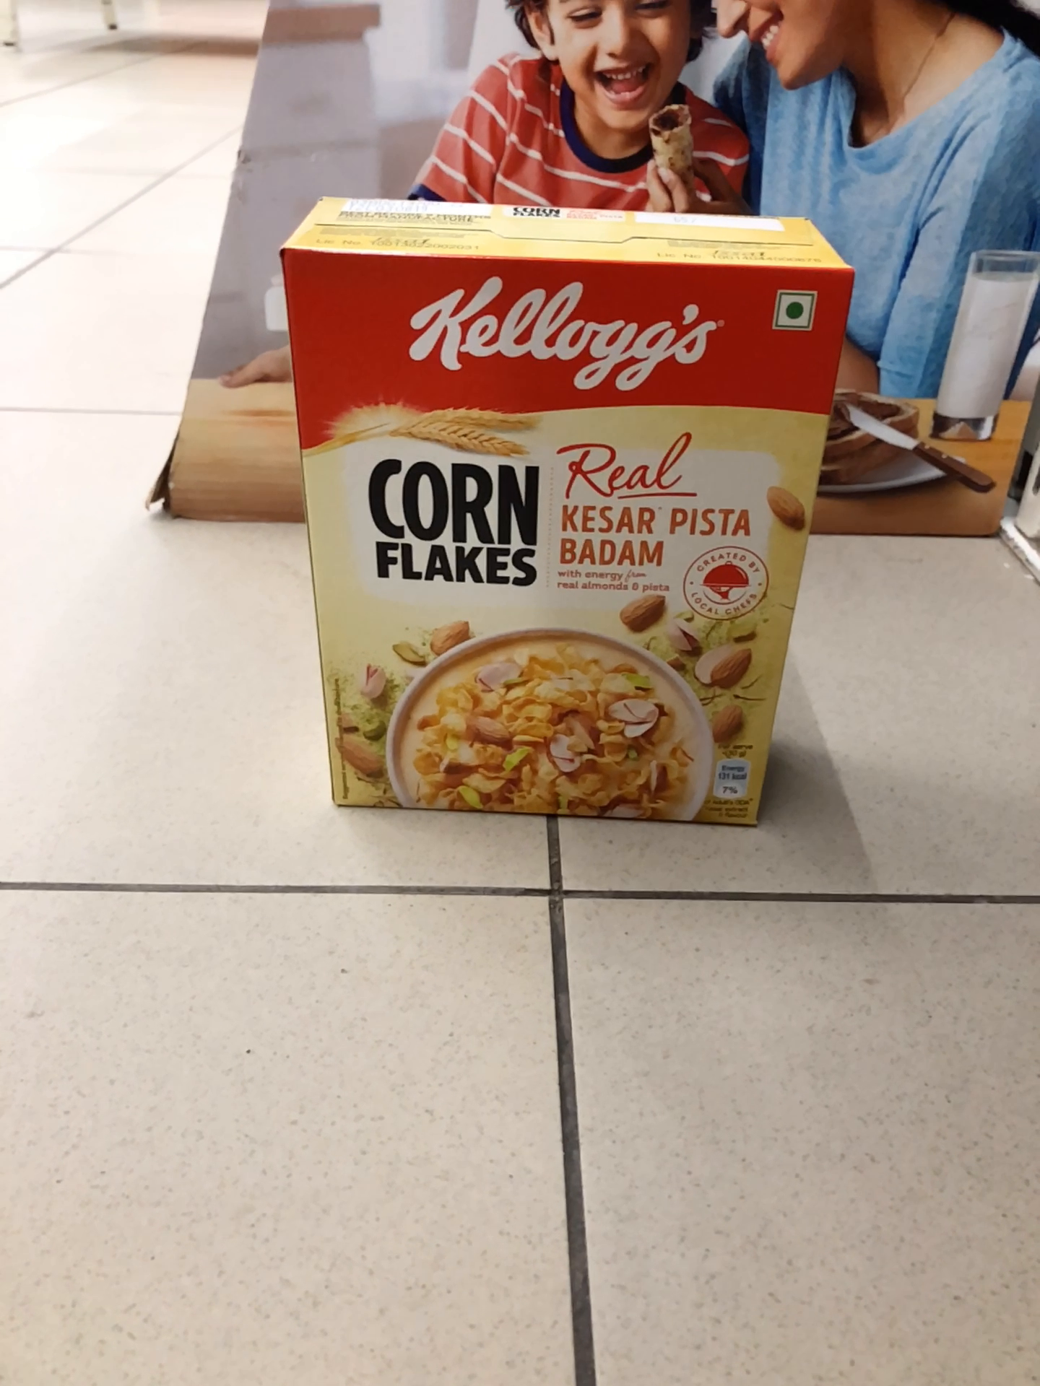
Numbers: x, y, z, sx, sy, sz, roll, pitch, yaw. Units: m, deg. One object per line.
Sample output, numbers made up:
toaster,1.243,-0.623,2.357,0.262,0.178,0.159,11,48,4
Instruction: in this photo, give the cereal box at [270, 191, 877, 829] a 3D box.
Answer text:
cereal box,0.009,-0.047,0.336,0.140,0.169,0.060,2,32,-2
